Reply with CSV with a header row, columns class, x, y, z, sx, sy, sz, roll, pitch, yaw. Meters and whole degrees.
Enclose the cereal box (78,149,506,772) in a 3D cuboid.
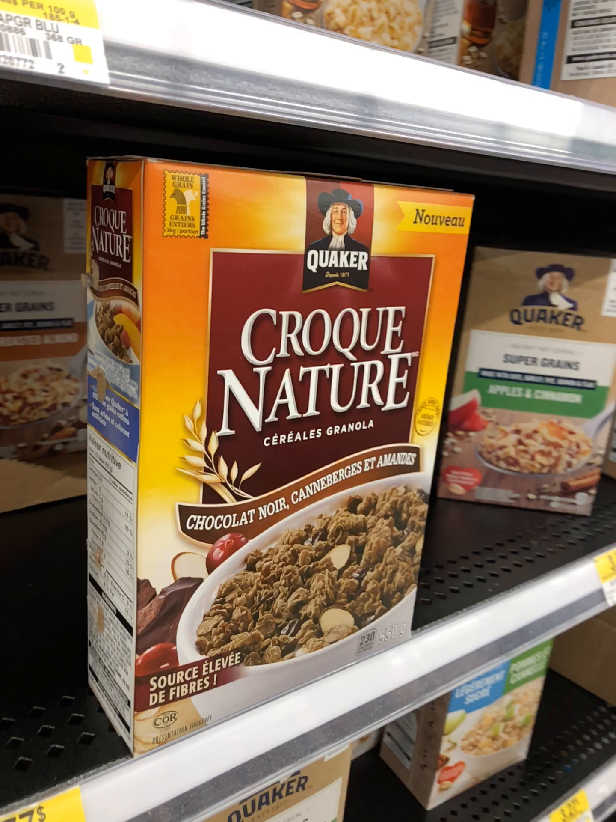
class,x,y,z,sx,sy,sz,roll,pitch,yaw
cereal box,-0.008,0.016,0.303,0.170,0.229,0.050,-8,22,-36
